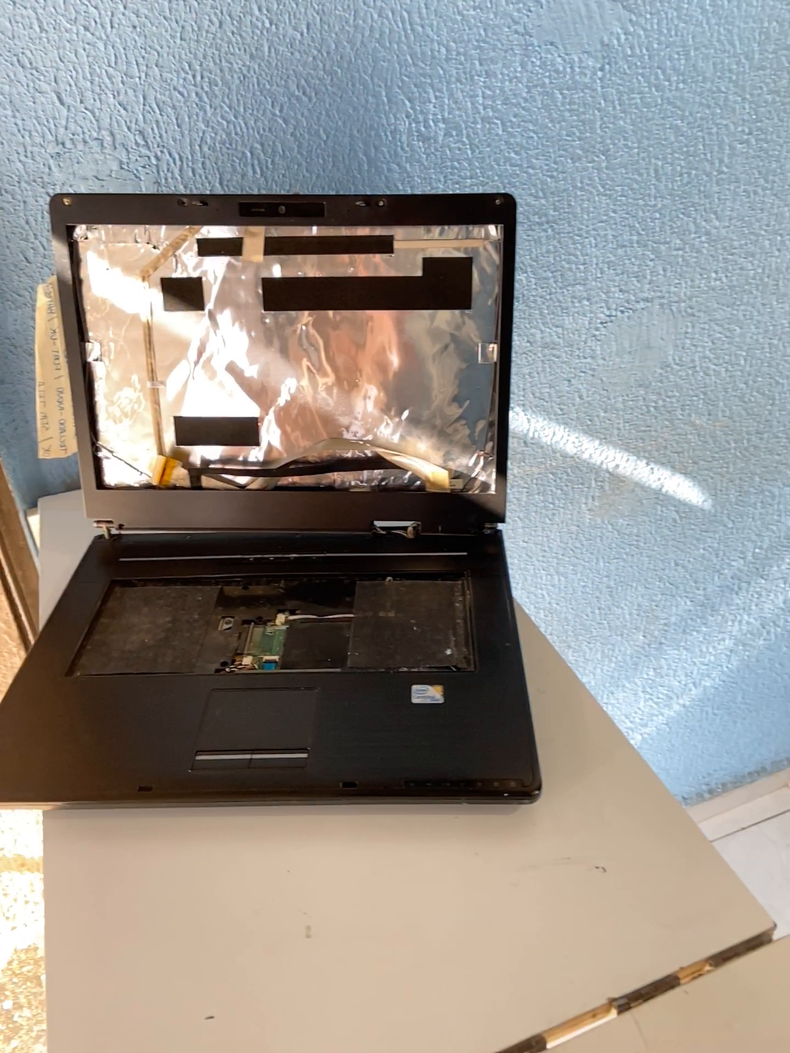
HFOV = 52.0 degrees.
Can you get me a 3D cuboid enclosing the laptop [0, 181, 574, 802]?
[{"bbox_3d":[-0.089,-0.049,0.553,0.352,0.261,0.352,-1,34,3],"label":"laptop"}]
